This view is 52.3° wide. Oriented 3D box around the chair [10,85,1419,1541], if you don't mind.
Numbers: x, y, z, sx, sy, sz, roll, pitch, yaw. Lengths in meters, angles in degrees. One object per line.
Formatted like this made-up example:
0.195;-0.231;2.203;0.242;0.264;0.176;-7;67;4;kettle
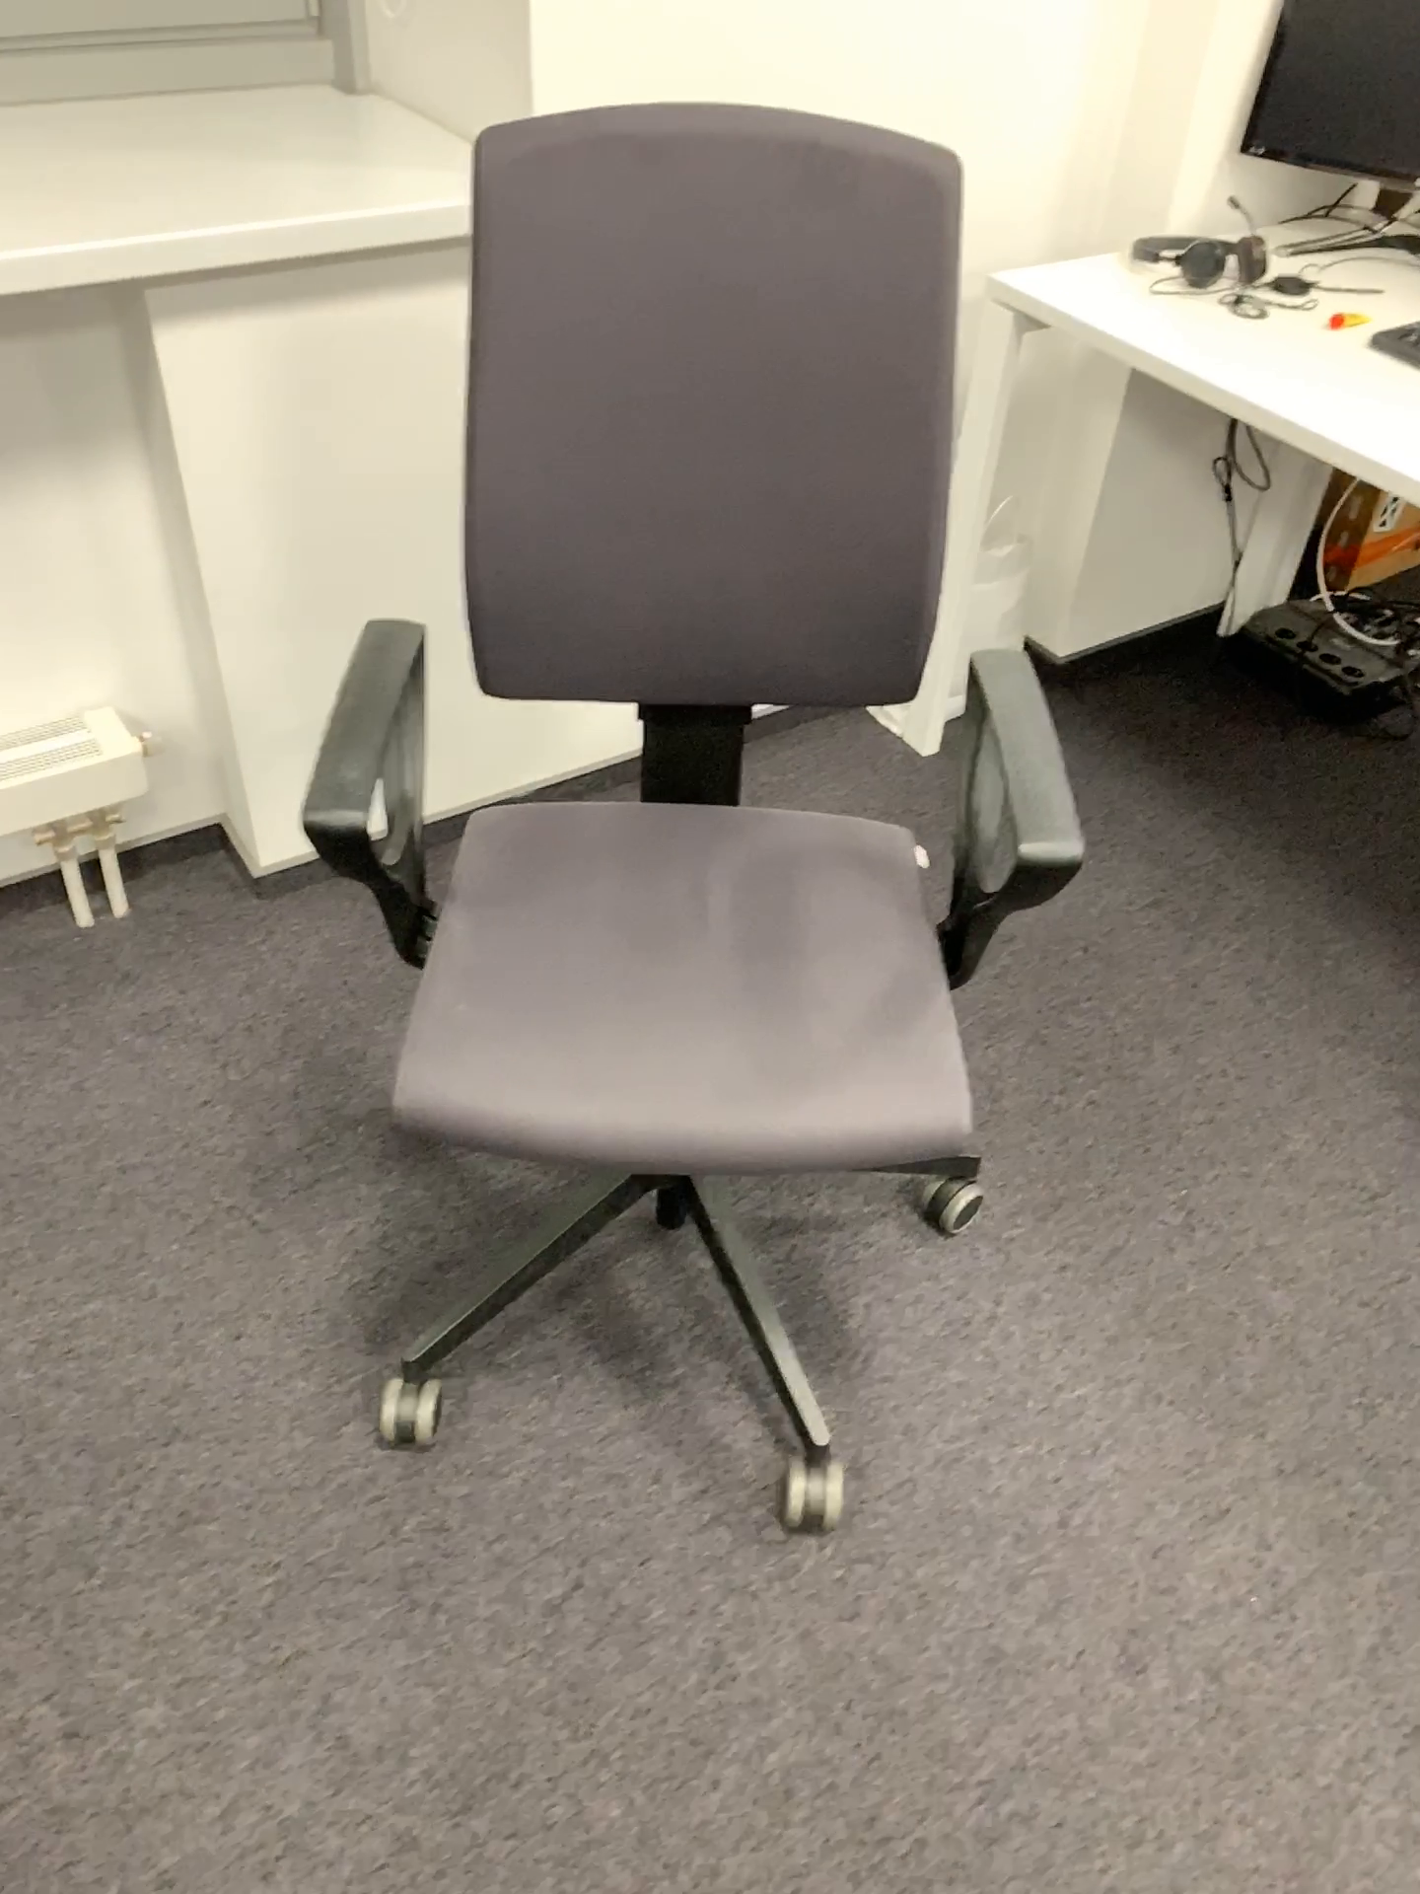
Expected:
-0.006;-0.084;1.317;0.700;1.044;0.754;2;41;-2;chair
